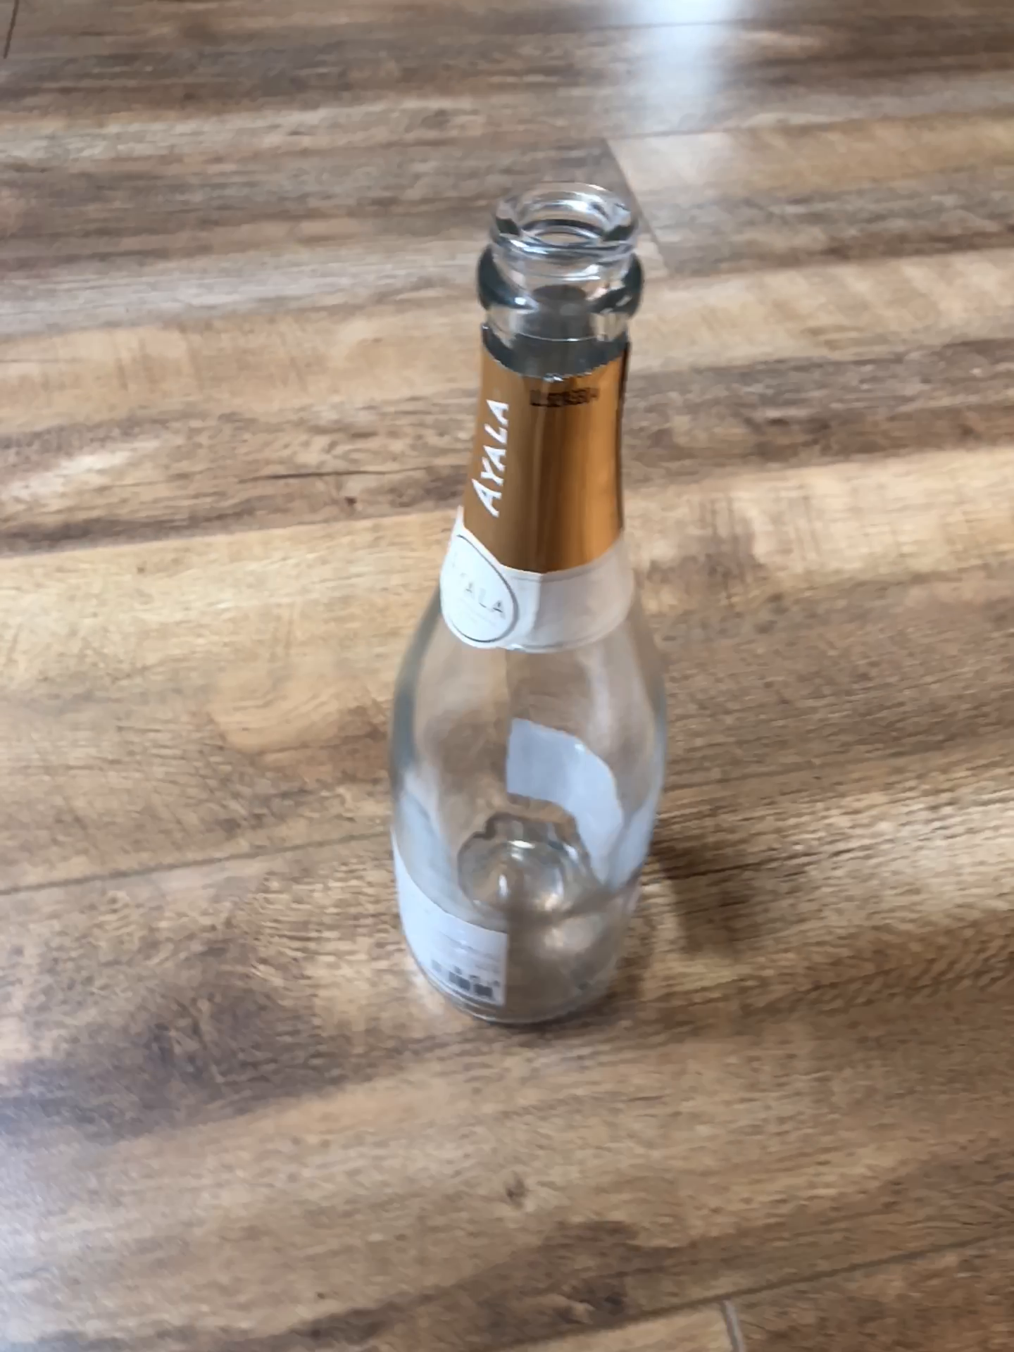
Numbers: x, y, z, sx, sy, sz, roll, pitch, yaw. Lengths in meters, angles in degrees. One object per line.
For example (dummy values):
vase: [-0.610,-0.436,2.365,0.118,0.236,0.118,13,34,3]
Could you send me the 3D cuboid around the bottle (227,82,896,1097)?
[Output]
bottle: [0.004,0.009,0.328,0.090,0.298,0.090,1,51,-1]
